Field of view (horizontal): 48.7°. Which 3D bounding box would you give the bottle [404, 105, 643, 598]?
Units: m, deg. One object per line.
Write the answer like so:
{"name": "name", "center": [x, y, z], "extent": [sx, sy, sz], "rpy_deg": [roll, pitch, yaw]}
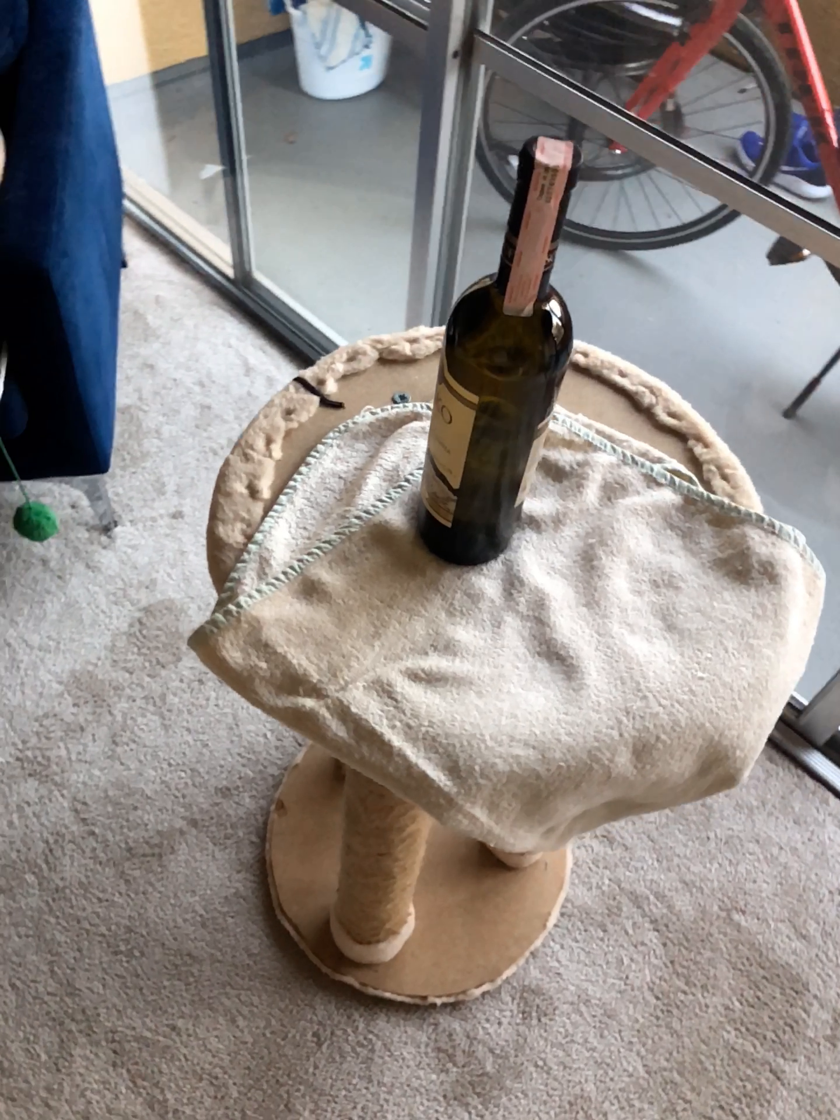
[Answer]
{"name": "bottle", "center": [0.046, -0.093, 0.512], "extent": [0.080, 0.269, 0.080], "rpy_deg": [3, 54, -4]}
